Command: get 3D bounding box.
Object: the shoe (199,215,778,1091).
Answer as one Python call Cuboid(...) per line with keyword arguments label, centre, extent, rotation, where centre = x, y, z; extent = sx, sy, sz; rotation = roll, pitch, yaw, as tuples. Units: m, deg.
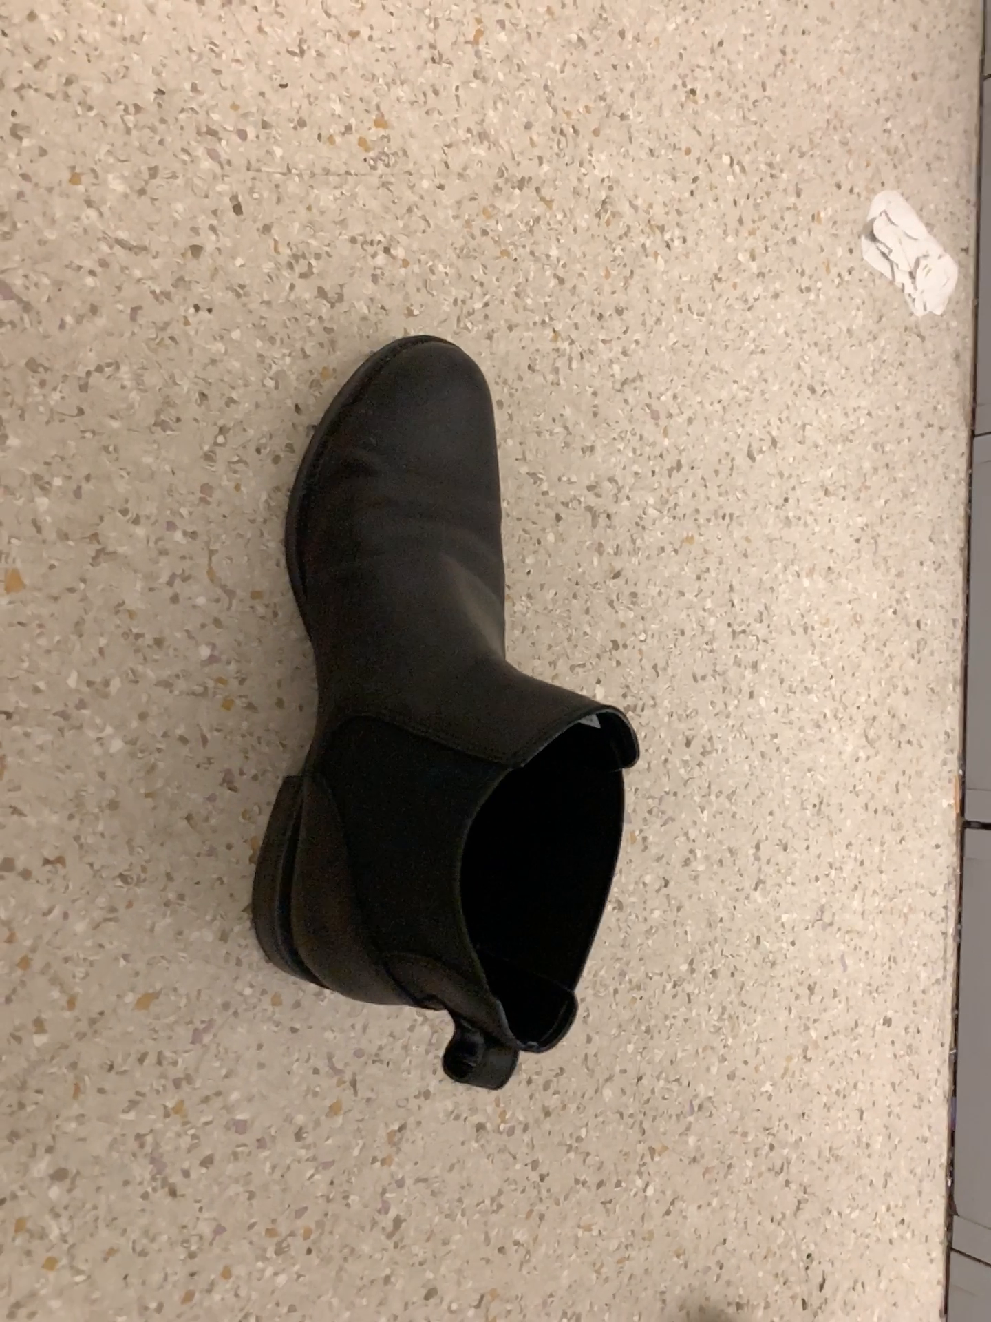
Cuboid(label="shoe", centre=(-0.006, 0.003, 0.391), extent=(0.107, 0.164, 0.262), rotation=(16, 78, -37))
